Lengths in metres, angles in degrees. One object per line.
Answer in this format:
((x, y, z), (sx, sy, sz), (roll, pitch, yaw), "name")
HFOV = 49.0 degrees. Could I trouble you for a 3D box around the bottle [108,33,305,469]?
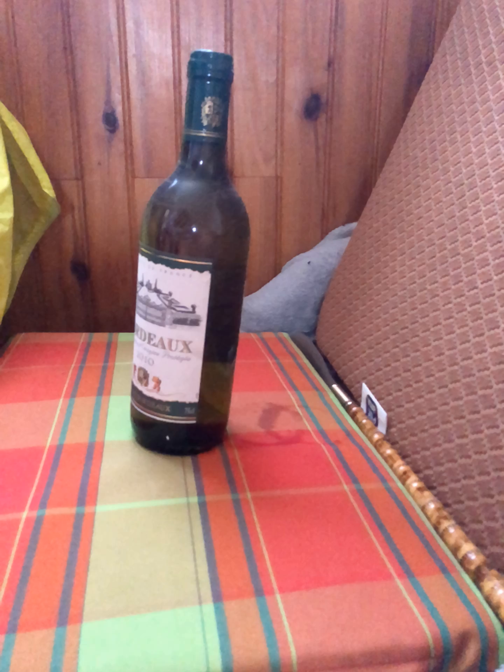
((-0.041, -0.052, 0.390), (0.080, 0.269, 0.080), (7, 18, -2), "bottle")
